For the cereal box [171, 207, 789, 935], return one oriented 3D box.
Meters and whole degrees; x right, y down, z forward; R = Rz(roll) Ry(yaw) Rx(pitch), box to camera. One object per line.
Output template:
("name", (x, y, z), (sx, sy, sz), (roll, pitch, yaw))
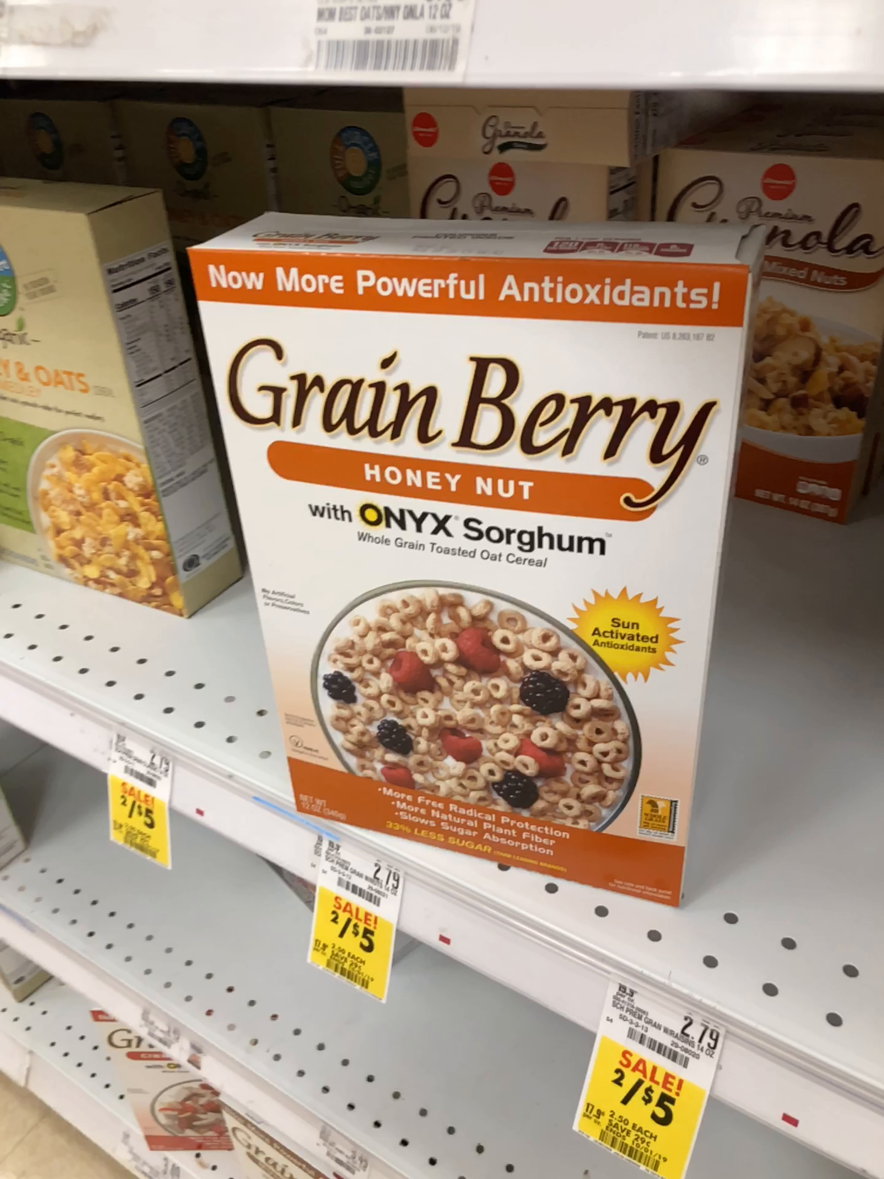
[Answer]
("cereal box", (0.020, -0.001, 0.414), (0.200, 0.289, 0.070), (9, 35, 19))
